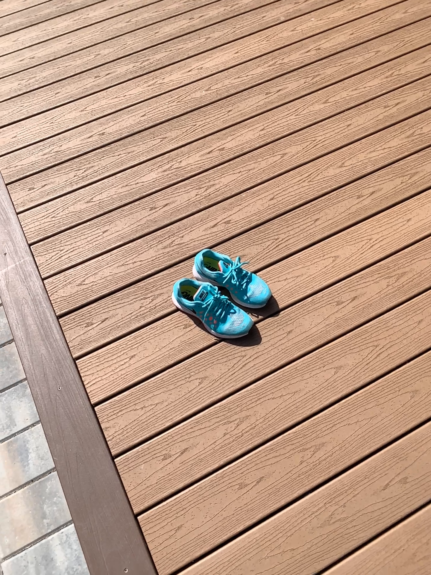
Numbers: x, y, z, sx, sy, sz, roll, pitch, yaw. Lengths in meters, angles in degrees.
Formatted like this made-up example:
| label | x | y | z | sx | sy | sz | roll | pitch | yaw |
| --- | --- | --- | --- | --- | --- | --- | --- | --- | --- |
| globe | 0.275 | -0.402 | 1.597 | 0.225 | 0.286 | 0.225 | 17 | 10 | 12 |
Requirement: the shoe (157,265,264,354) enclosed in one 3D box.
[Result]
| label | x | y | z | sx | sy | sz | roll | pitch | yaw |
| --- | --- | --- | --- | --- | --- | --- | --- | --- | --- |
| shoe | -0.013 | 0.058 | 1.180 | 0.260 | 0.080 | 0.110 | 28 | 67 | 17 |

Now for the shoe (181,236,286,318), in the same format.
| label | x | y | z | sx | sy | sz | roll | pitch | yaw |
| --- | --- | --- | --- | --- | --- | --- | --- | --- | --- |
| shoe | 0.049 | -0.031 | 1.215 | 0.260 | 0.080 | 0.110 | 25 | 66 | 15 |
